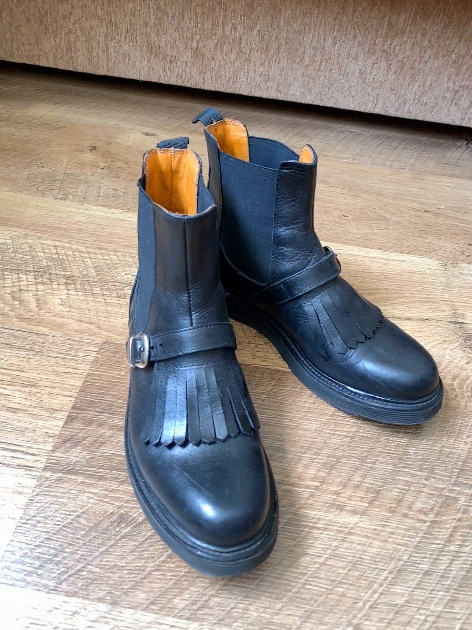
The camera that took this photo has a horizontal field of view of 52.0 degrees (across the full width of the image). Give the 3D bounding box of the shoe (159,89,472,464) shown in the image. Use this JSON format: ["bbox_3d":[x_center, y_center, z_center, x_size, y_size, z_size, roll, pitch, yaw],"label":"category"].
[{"bbox_3d":[0.066,-0.042,0.372,0.261,0.149,0.100,37,53,26],"label":"shoe"}]

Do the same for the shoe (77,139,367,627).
[{"bbox_3d":[-0.035,0.022,0.312,0.089,0.151,0.261,-9,48,-14],"label":"shoe"}]
